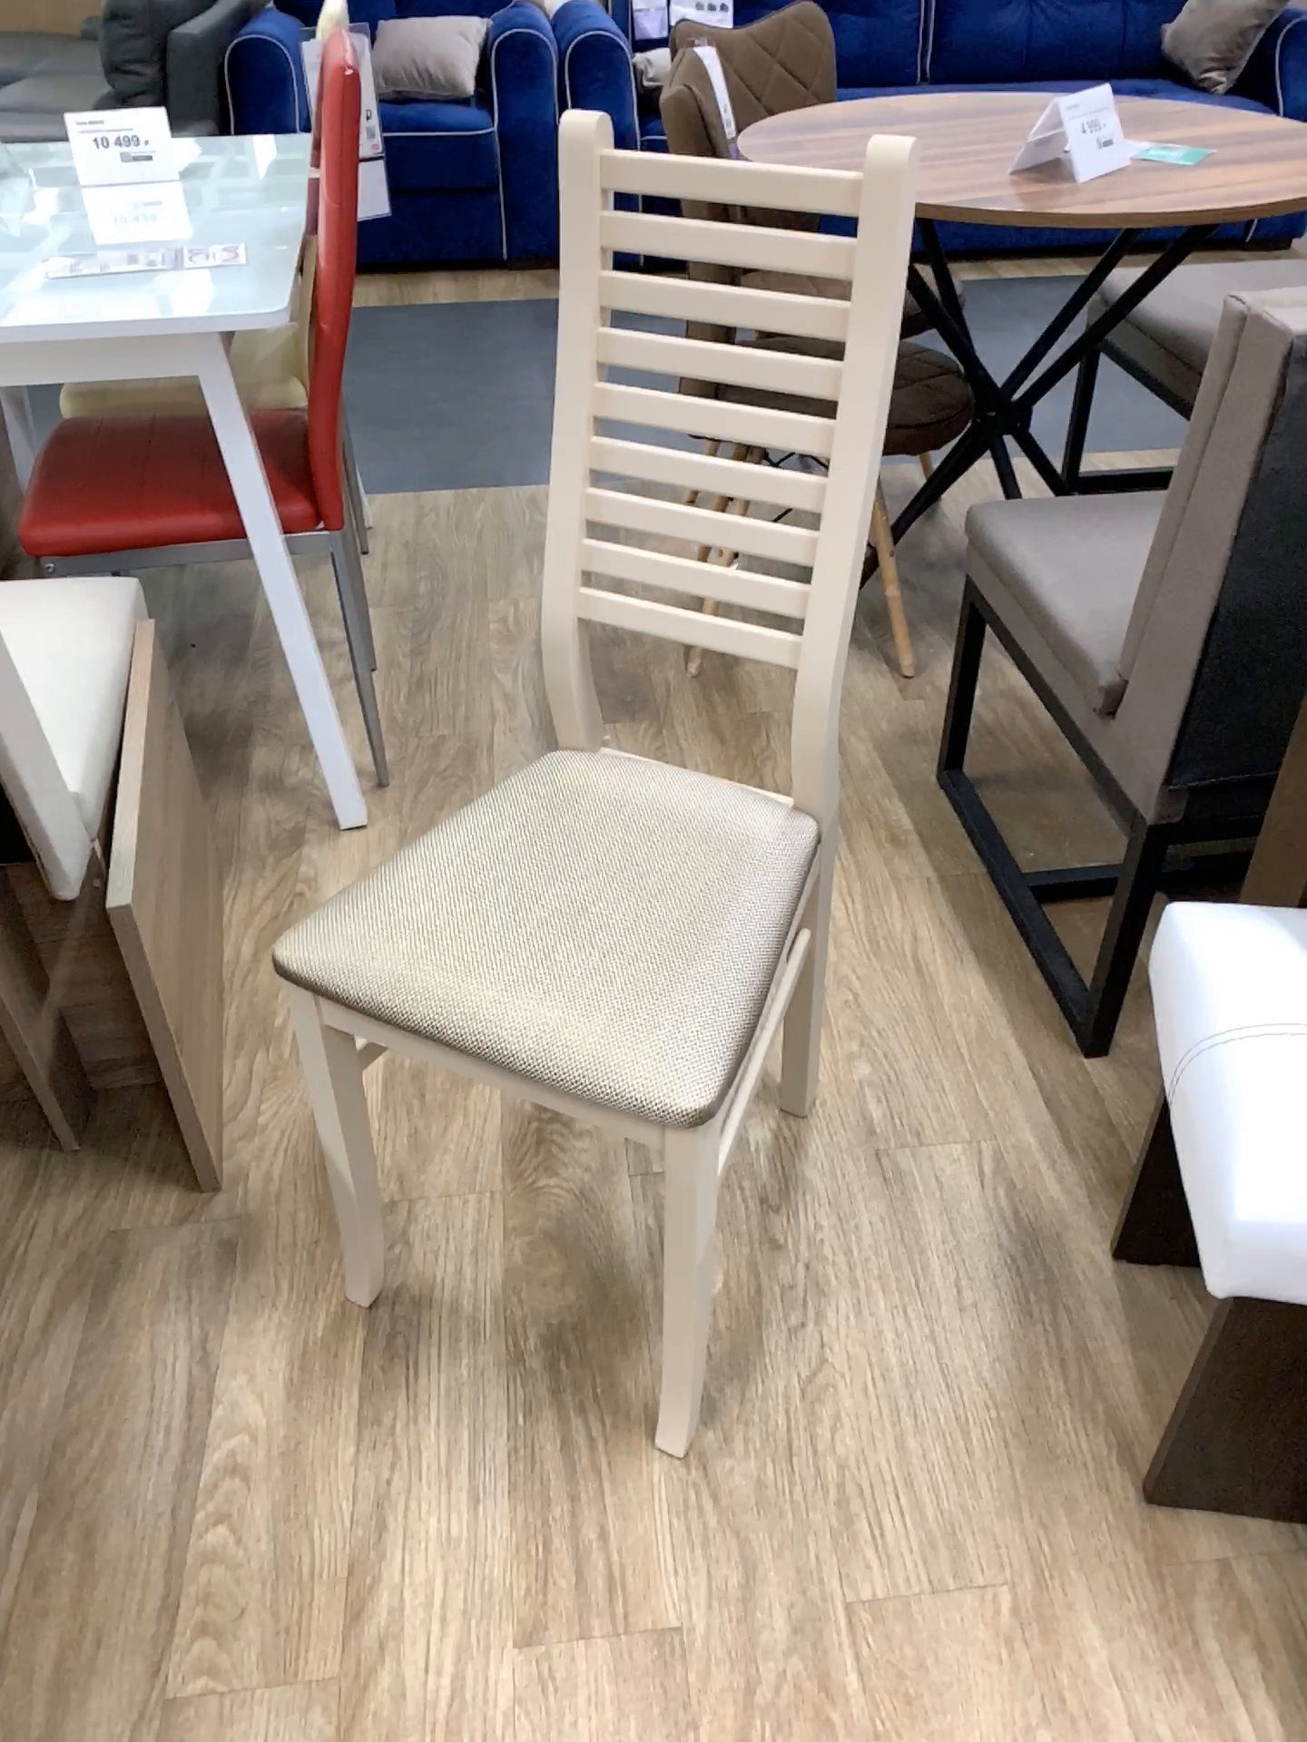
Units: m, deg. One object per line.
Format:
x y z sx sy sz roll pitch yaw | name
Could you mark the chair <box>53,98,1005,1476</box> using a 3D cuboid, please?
-0.039 -0.041 1.107 0.390 0.969 0.475 17 41 21 | chair
